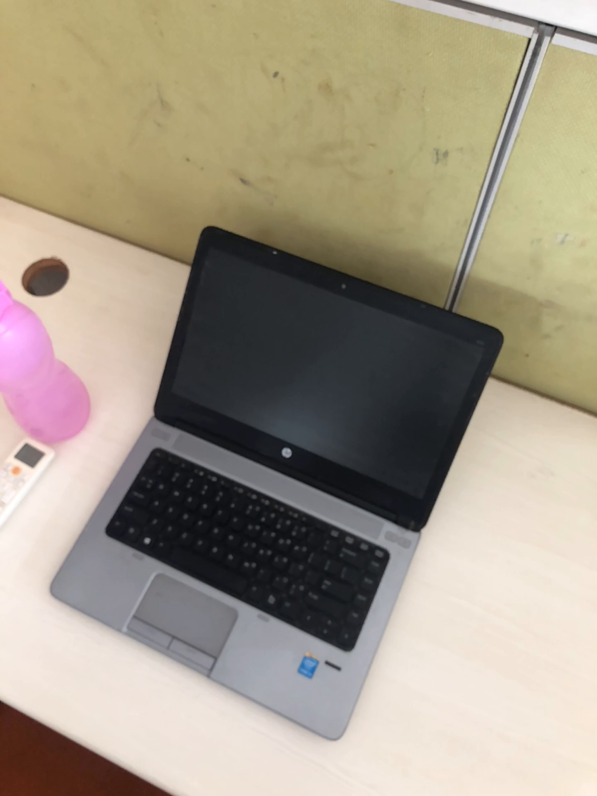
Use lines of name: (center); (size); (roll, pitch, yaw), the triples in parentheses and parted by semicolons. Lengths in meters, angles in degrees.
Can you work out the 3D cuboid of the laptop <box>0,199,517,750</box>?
laptop: (-0.028, 0.059, 0.654); (0.326, 0.148, 0.407); (22, 70, 12)
